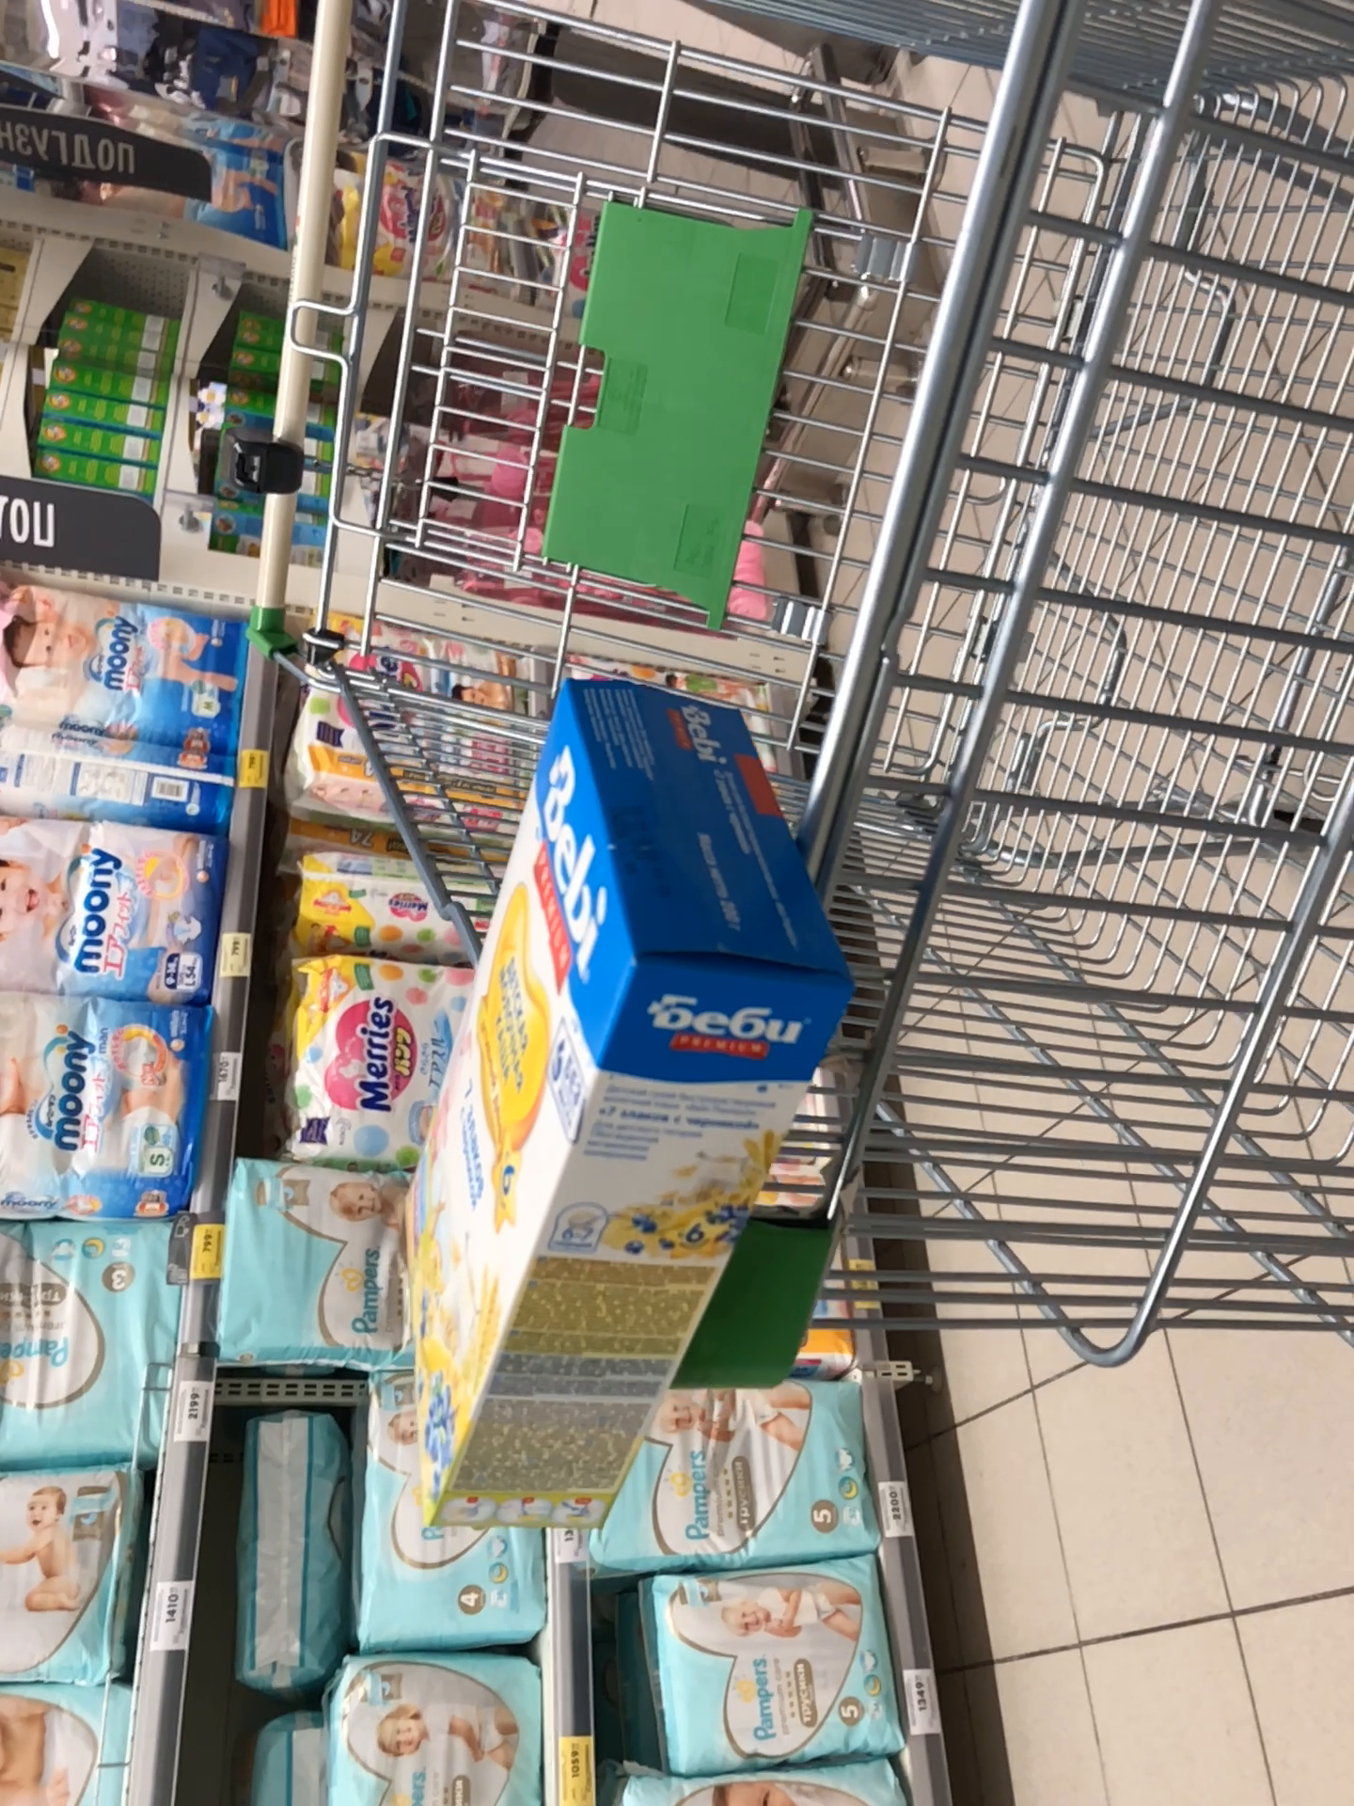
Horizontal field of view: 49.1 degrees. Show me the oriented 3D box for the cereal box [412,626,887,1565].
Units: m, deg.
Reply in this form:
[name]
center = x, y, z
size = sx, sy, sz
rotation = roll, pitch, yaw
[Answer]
[cereal box]
center = -0.024, 0.055, 0.402
size = 0.140, 0.050, 0.210
rotation = -107, 30, -52
